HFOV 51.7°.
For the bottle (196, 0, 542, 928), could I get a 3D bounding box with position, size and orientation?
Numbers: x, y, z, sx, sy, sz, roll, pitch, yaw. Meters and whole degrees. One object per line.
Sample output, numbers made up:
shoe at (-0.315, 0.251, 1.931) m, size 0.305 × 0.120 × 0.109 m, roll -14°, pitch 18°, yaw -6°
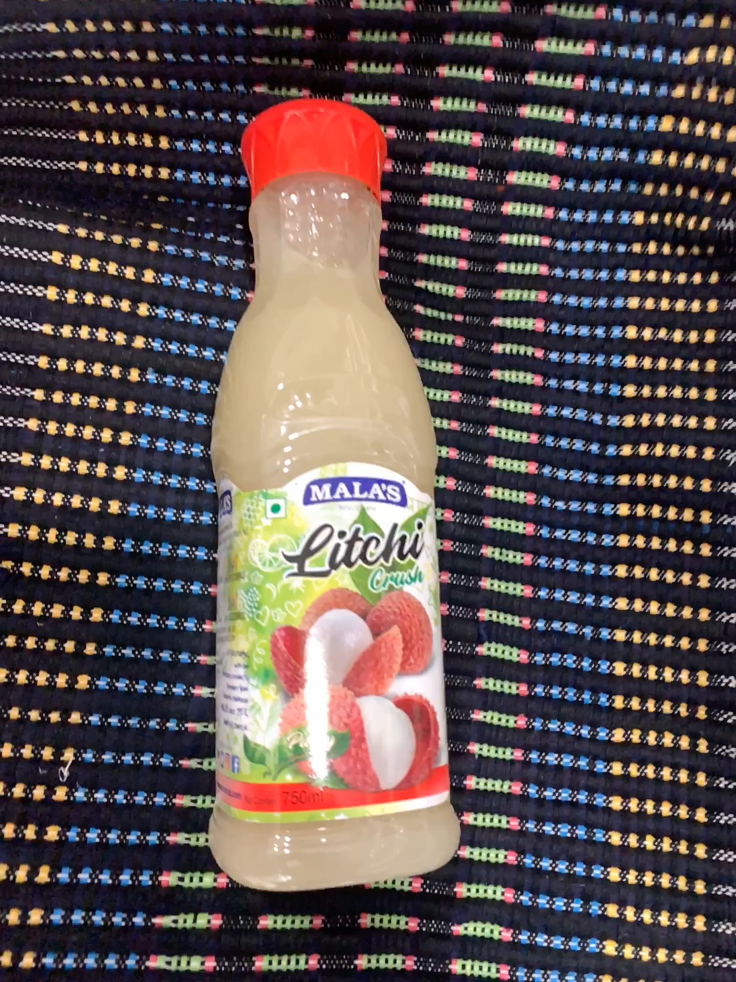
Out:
bottle at (-0.010, -0.024, 0.239) m, size 0.080 × 0.080 × 0.260 m, roll 1°, pitch 80°, yaw -16°
